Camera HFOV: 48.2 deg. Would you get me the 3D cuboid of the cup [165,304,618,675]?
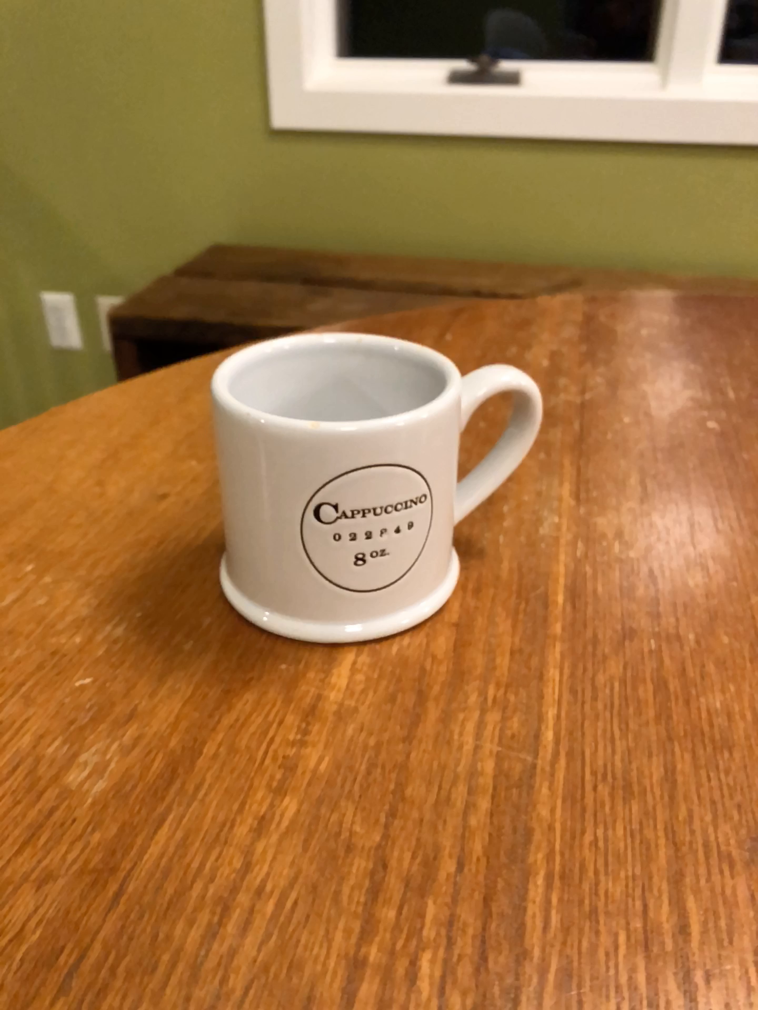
[{"bbox_3d":[0.002,-0.015,0.321,0.135,0.082,0.090,-14,33,-22],"label":"cup"}]
